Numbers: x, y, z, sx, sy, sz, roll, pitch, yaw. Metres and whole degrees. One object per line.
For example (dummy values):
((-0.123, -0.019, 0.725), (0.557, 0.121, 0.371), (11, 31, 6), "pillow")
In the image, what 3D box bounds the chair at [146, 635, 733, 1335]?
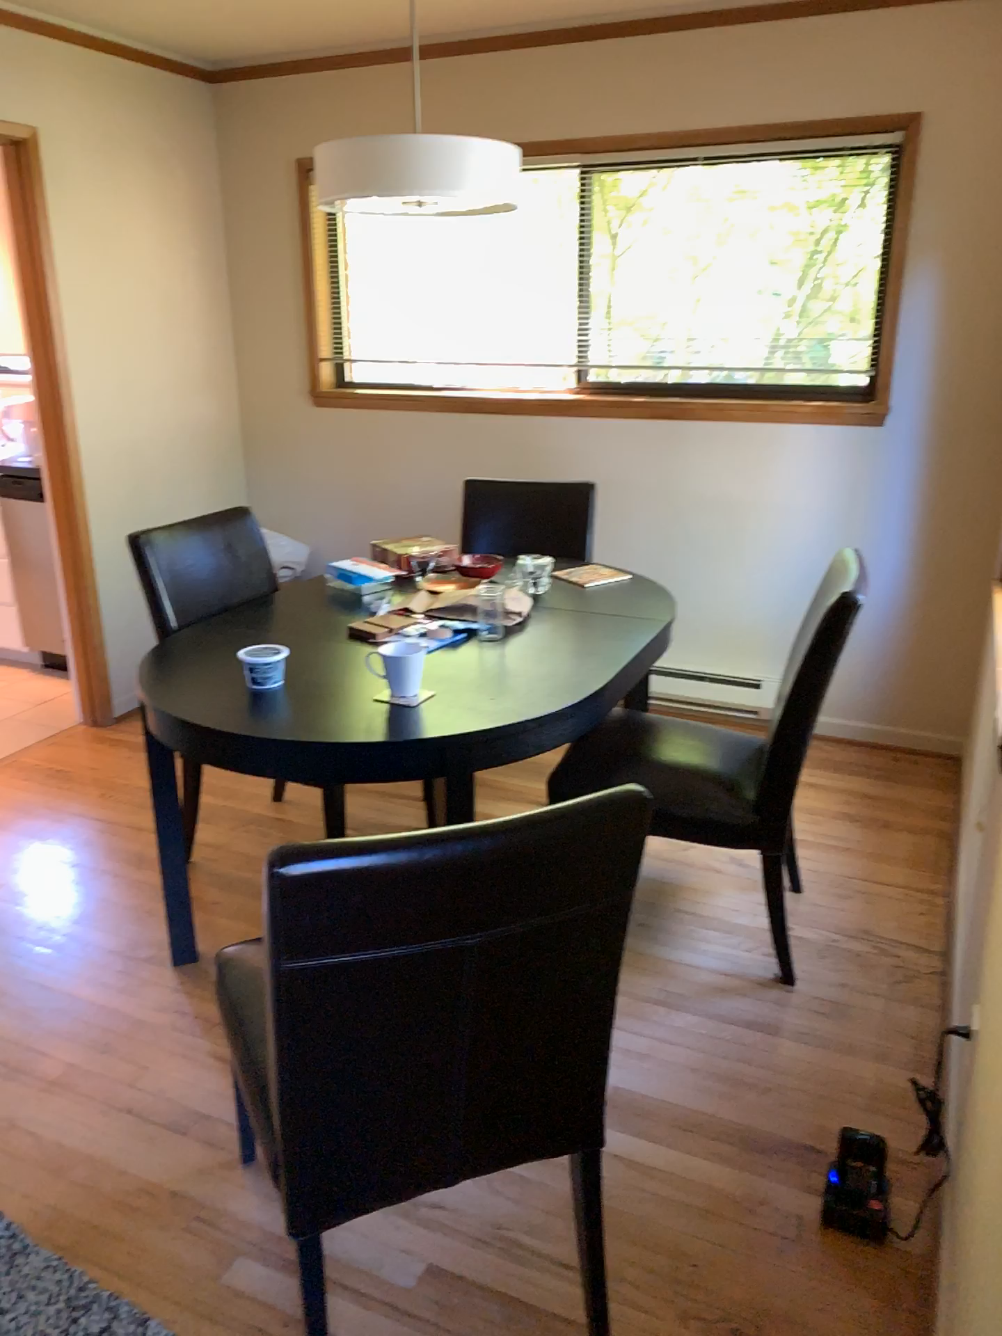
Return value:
((-0.132, 0.595, 1.555), (0.620, 1.085, 0.653), (-8, 20, -20), "chair")
